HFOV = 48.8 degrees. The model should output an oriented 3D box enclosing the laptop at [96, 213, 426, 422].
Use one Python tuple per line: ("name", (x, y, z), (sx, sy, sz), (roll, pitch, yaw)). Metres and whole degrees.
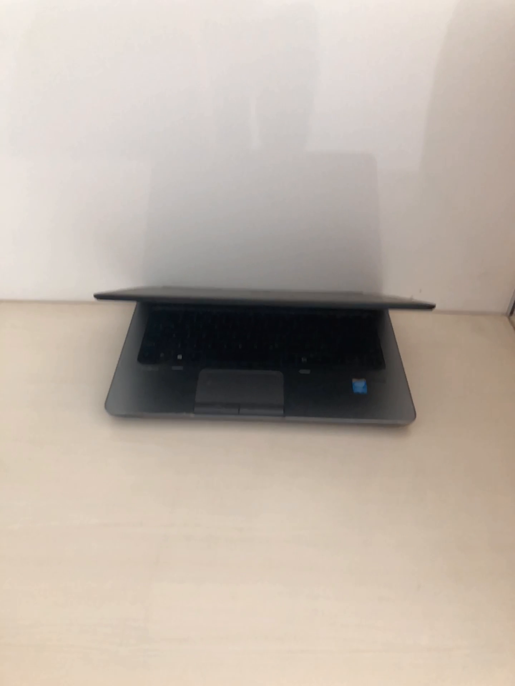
("laptop", (0.005, -0.038, 0.667), (0.319, 0.118, 0.221), (2, 40, -1))
